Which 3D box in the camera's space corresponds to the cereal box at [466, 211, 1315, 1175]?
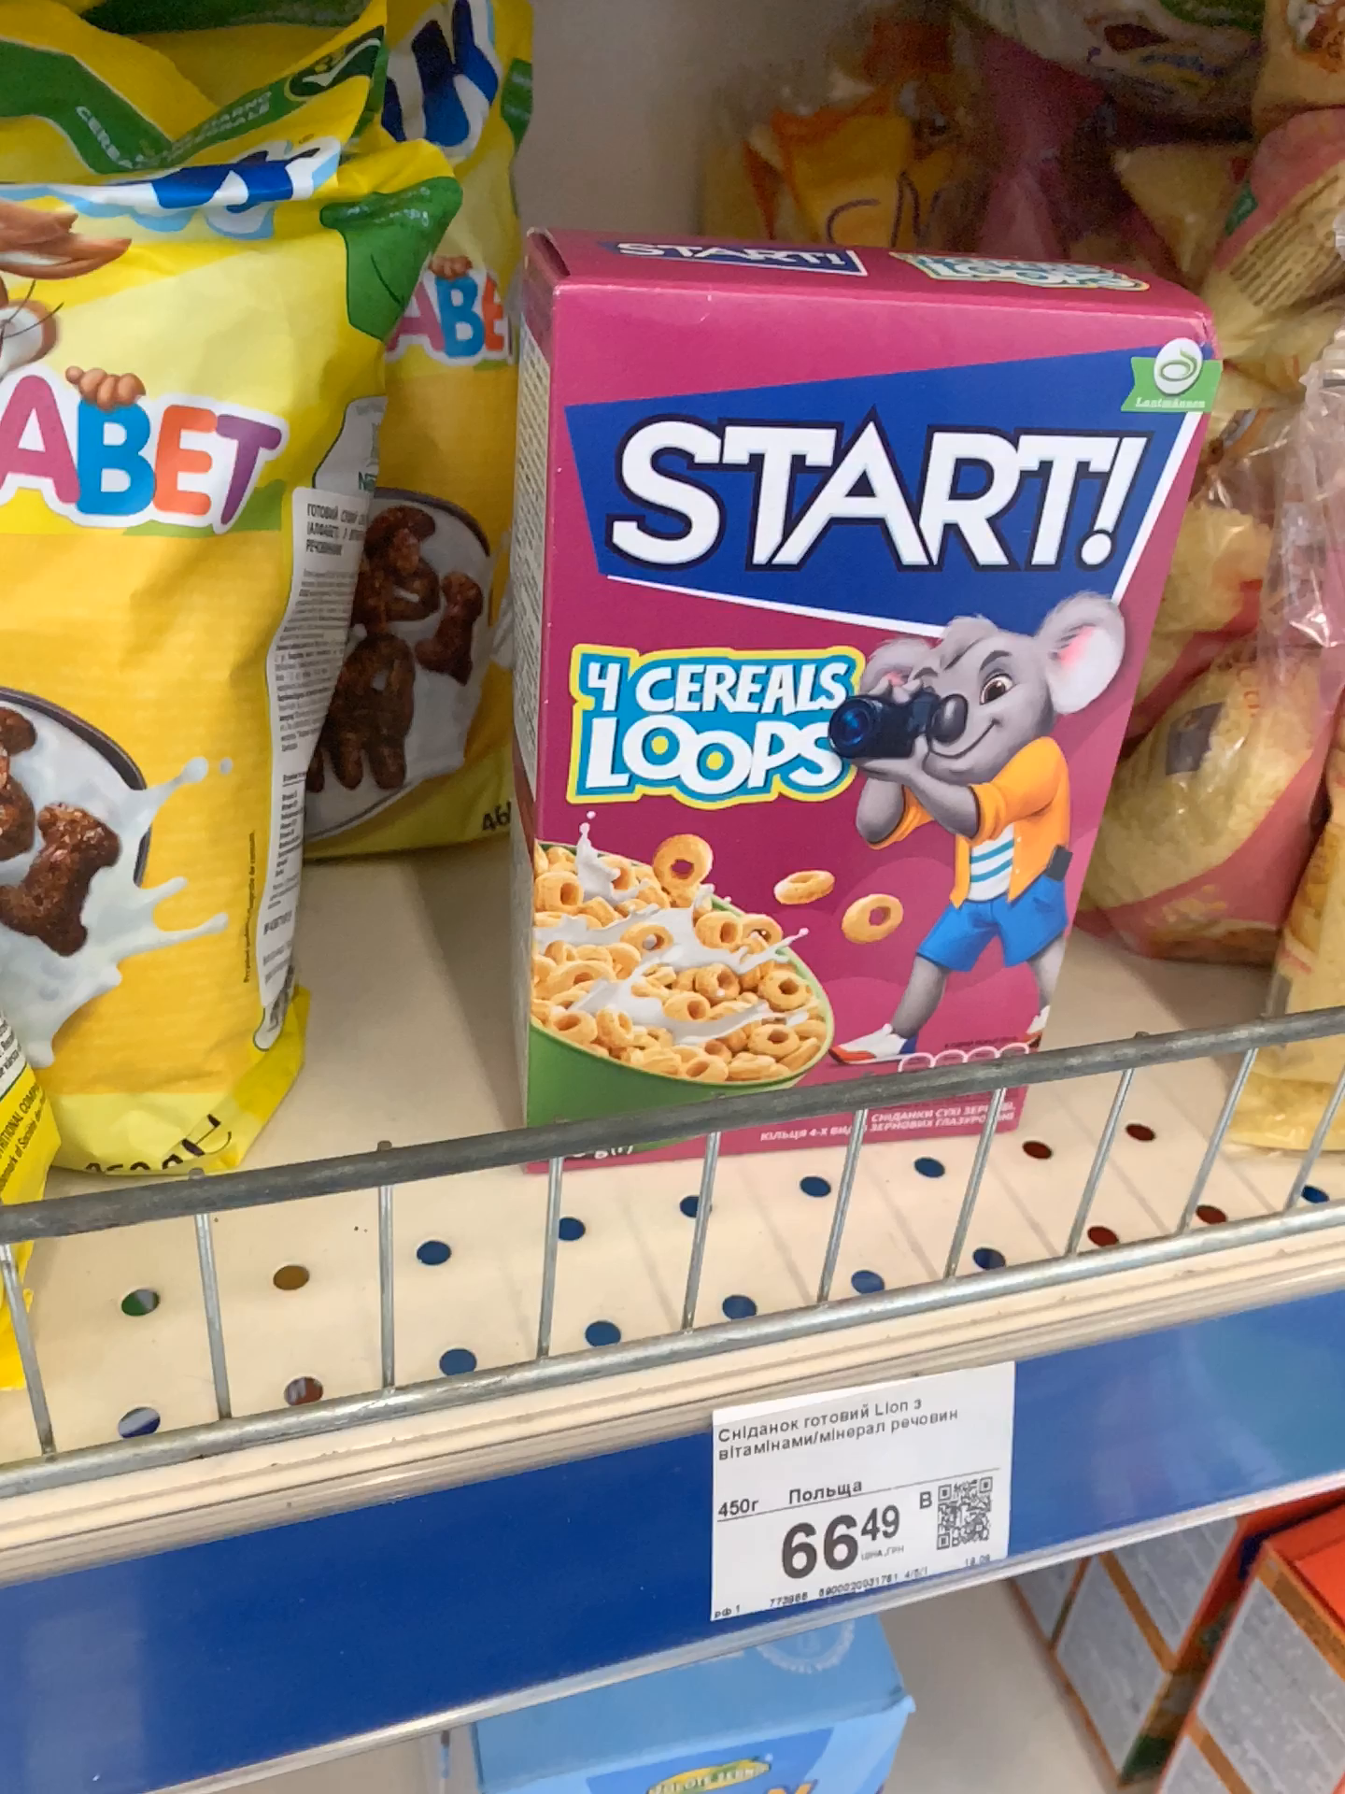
[{"bbox_3d":[0.025,-0.031,0.257,0.120,0.159,0.050,-3,33,-13],"label":"cereal box"}]
